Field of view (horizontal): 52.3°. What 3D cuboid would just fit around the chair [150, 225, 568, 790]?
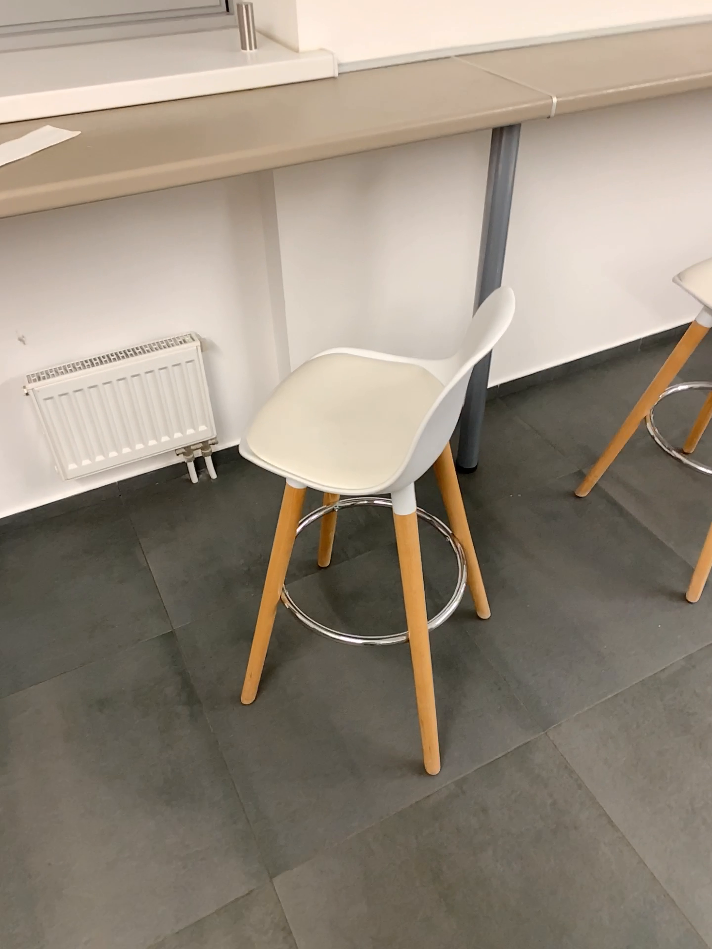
[{"bbox_3d":[0.038,0.085,1.377,0.480,0.885,0.482,14,44,17],"label":"chair"}]
